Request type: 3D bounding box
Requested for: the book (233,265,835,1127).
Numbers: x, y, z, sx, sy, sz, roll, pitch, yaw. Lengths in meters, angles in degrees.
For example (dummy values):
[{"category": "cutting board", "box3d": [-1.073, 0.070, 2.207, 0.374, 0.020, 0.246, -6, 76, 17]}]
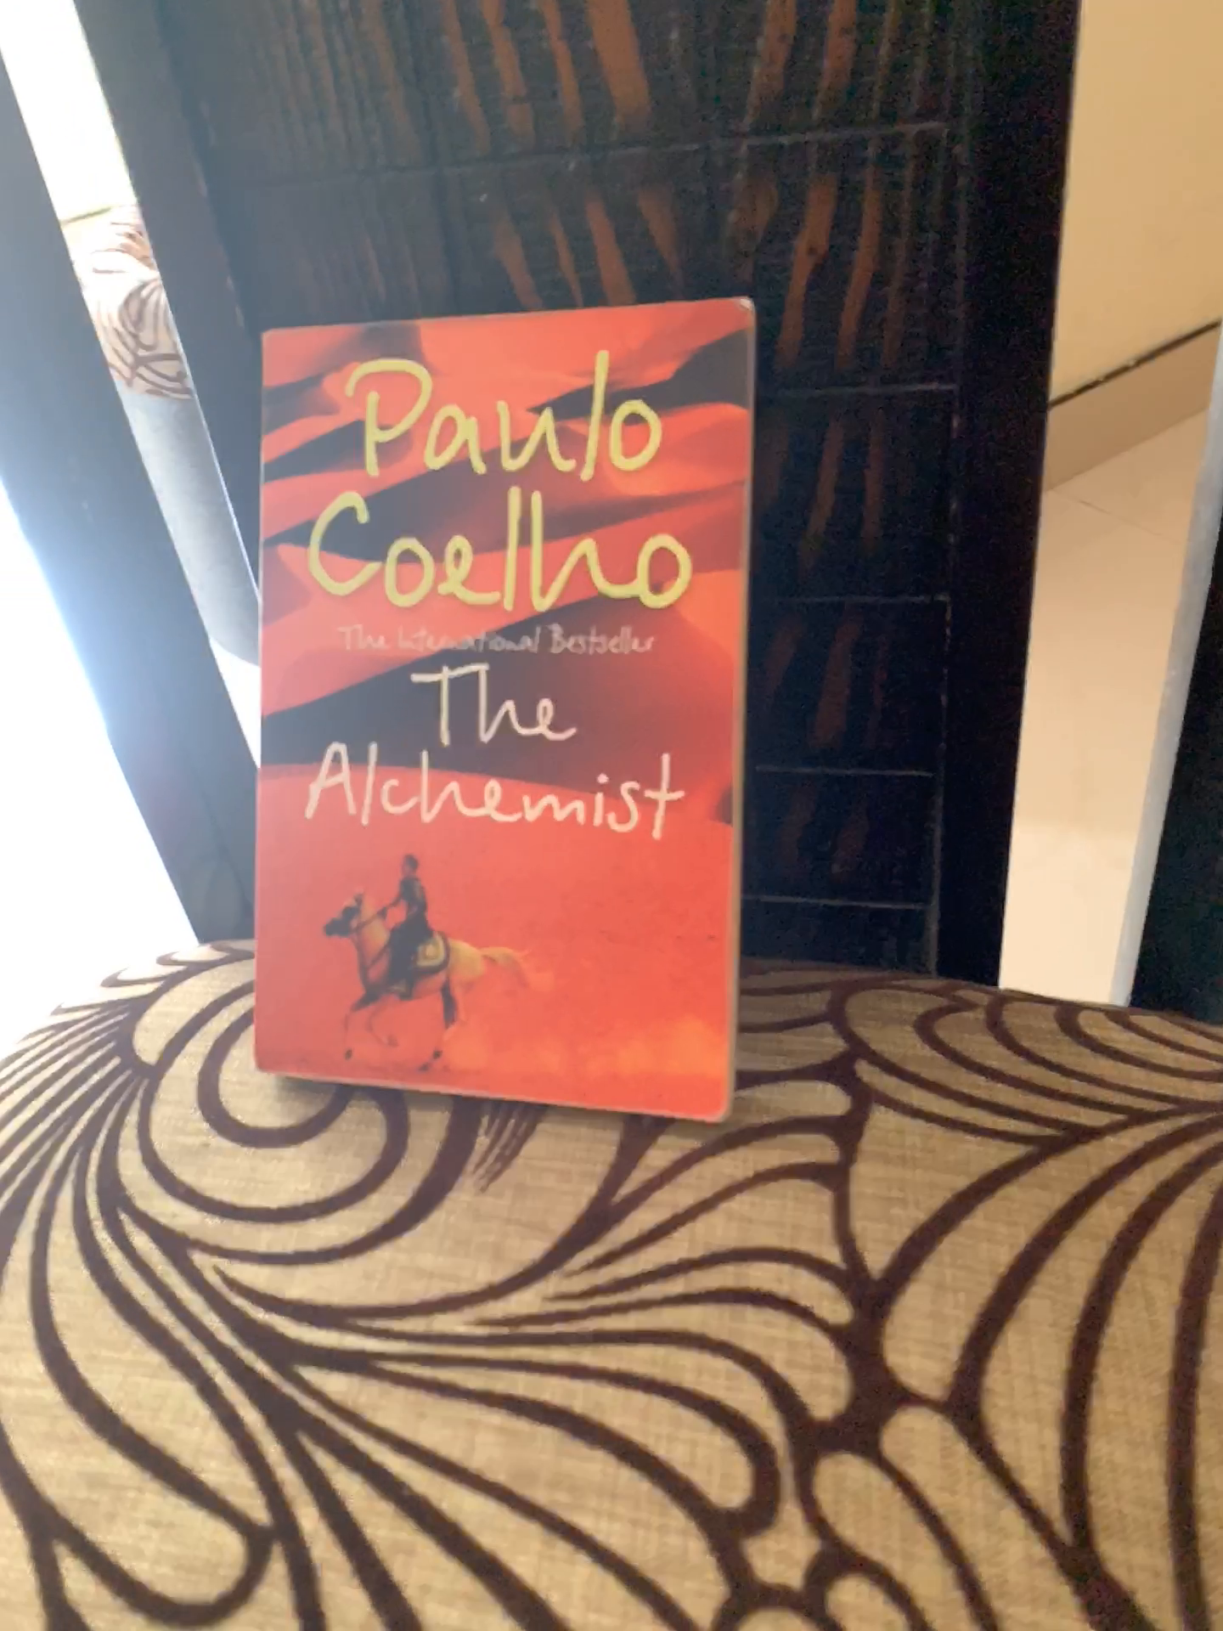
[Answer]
[{"category": "book", "box3d": [-0.020, -0.032, 0.320, 0.140, 0.200, 0.030, 3, -2, 15]}]
